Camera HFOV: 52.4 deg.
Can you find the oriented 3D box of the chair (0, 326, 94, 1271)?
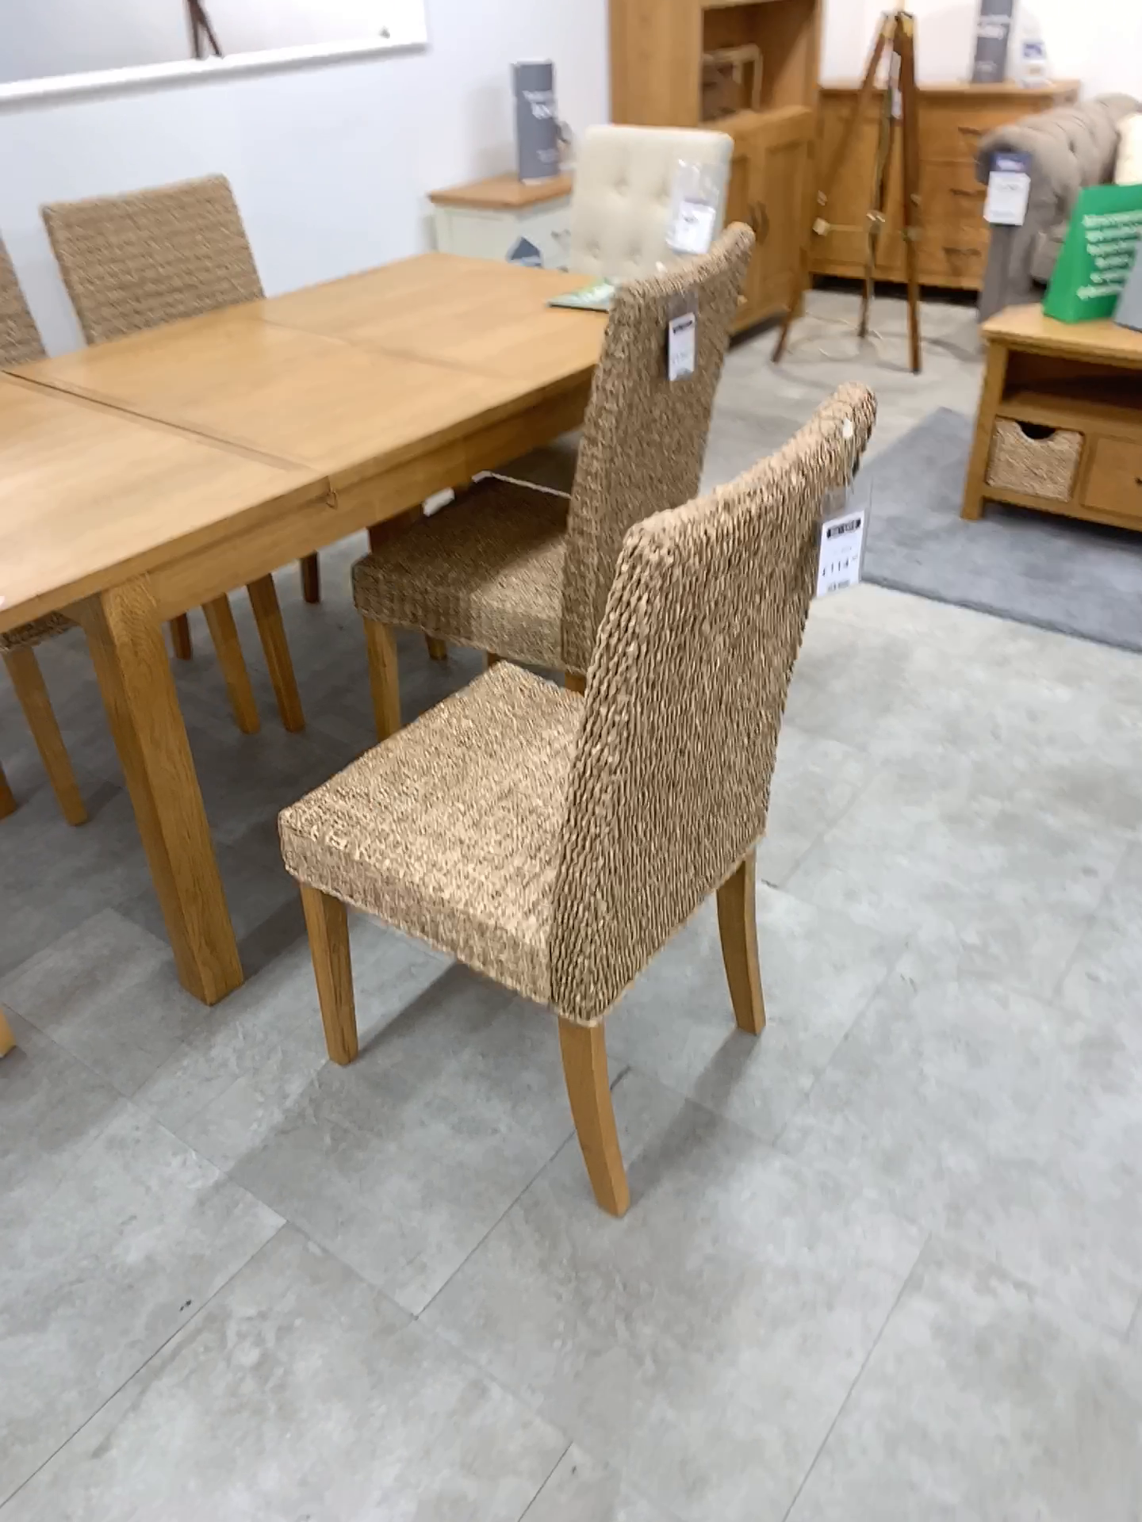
[{"bbox_3d":[-0.998,0.048,1.311,0.513,0.903,0.400,13,38,22],"label":"chair"}]

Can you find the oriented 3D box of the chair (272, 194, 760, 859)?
[{"bbox_3d":[-0.053,-0.392,1.913,0.554,0.894,0.440,16,39,25],"label":"chair"}]

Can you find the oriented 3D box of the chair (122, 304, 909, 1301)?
[{"bbox_3d":[-0.027,0.029,1.350,0.564,0.903,0.490,20,41,29],"label":"chair"}]
